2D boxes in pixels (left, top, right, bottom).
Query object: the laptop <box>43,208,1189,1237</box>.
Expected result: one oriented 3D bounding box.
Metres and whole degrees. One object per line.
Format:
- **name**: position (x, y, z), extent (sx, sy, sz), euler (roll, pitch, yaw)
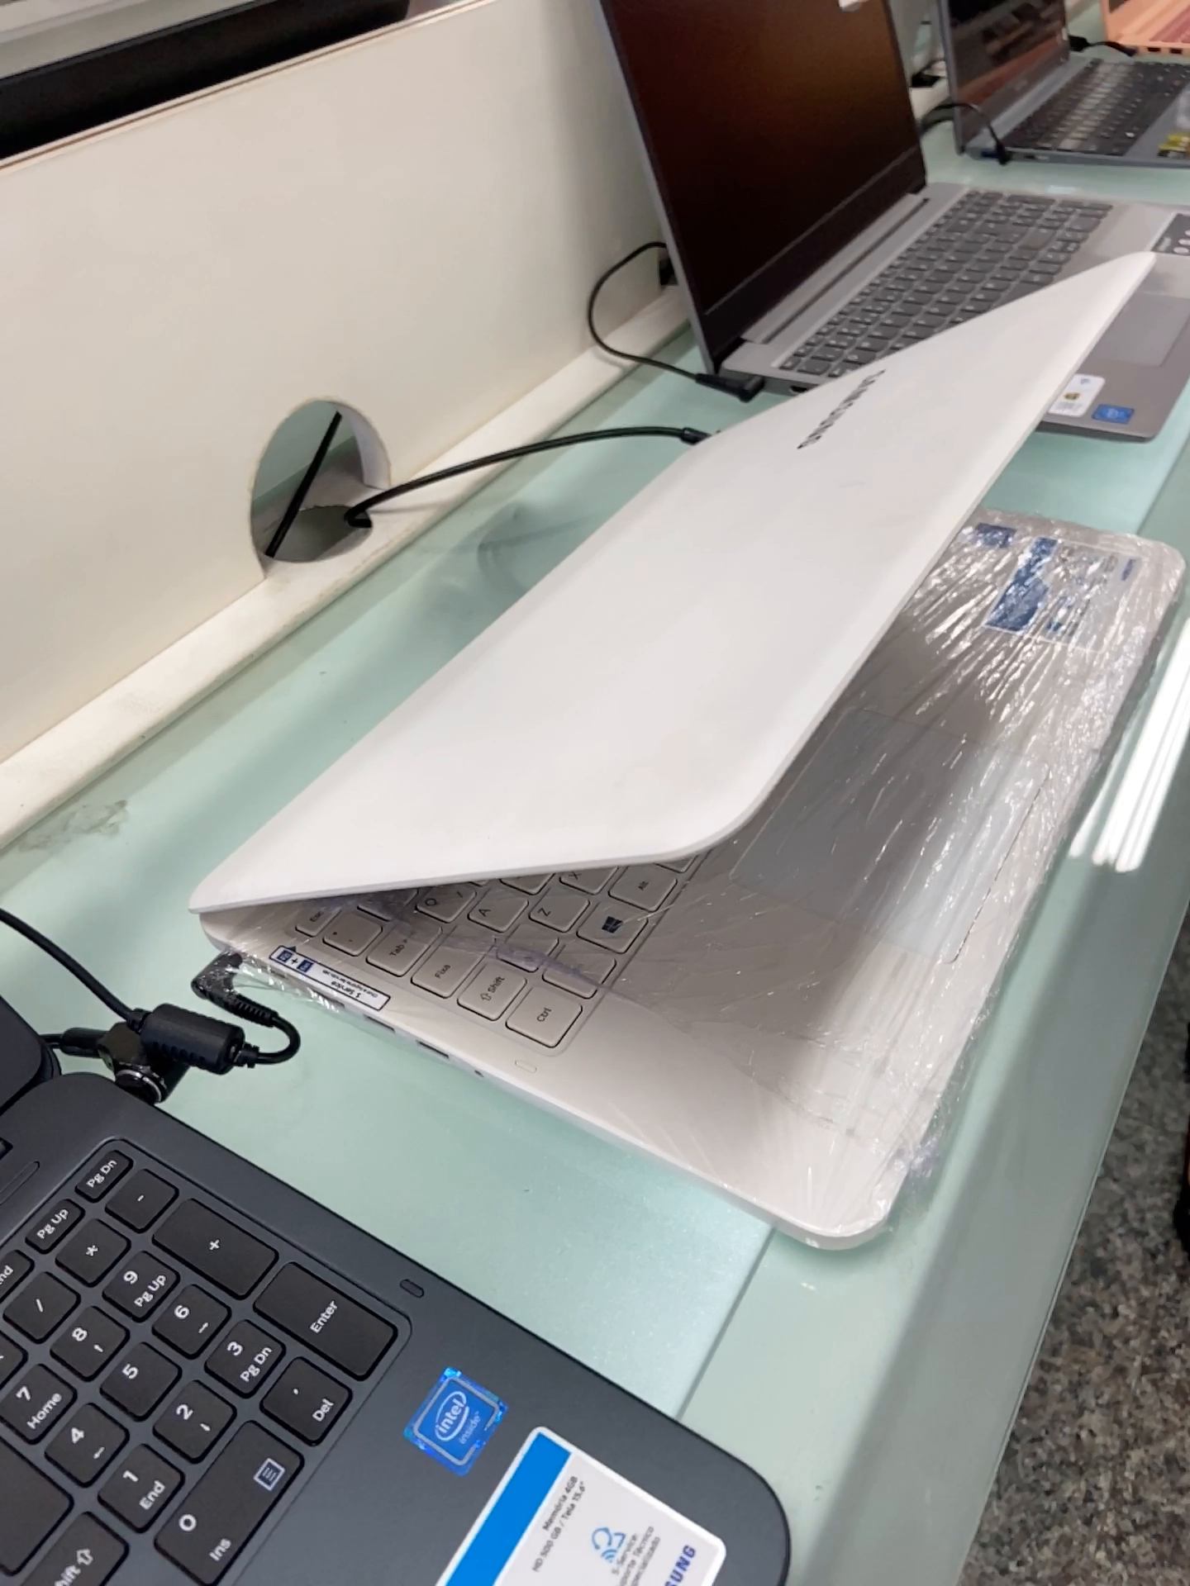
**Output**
- **laptop**: position (0.052, -0.081, 0.444), extent (0.247, 0.129, 0.374), euler (18, 46, 26)
